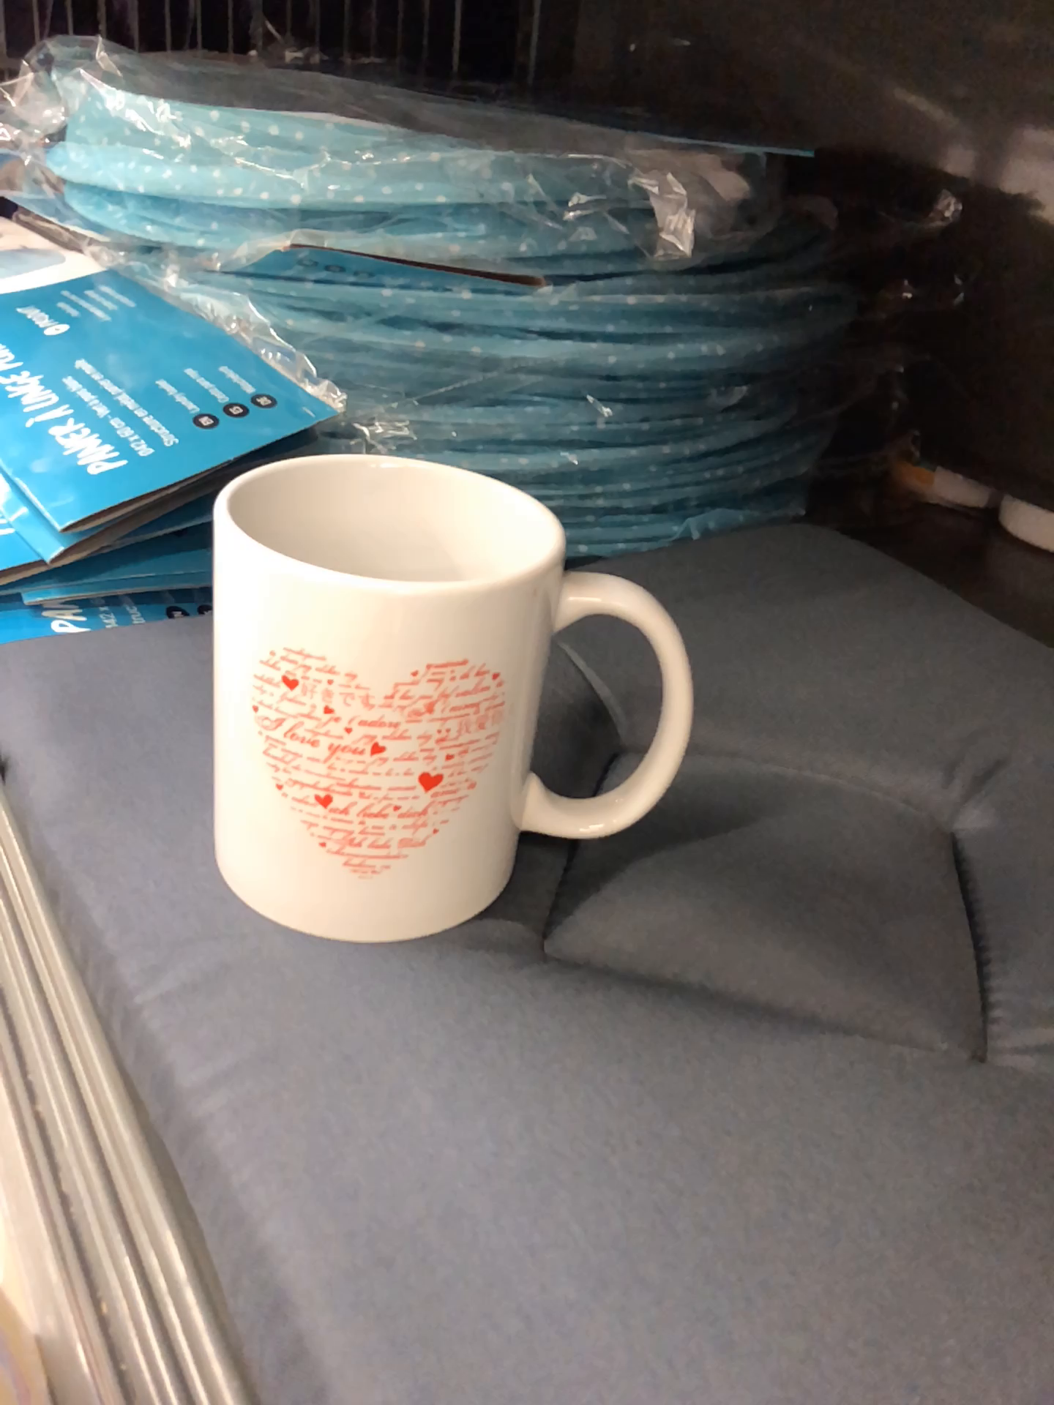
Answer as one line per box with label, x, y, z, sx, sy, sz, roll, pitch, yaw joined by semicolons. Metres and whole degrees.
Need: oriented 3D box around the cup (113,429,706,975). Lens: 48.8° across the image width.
cup;-0.029;-0.003;0.299;0.120;0.099;0.090;5;28;-4
